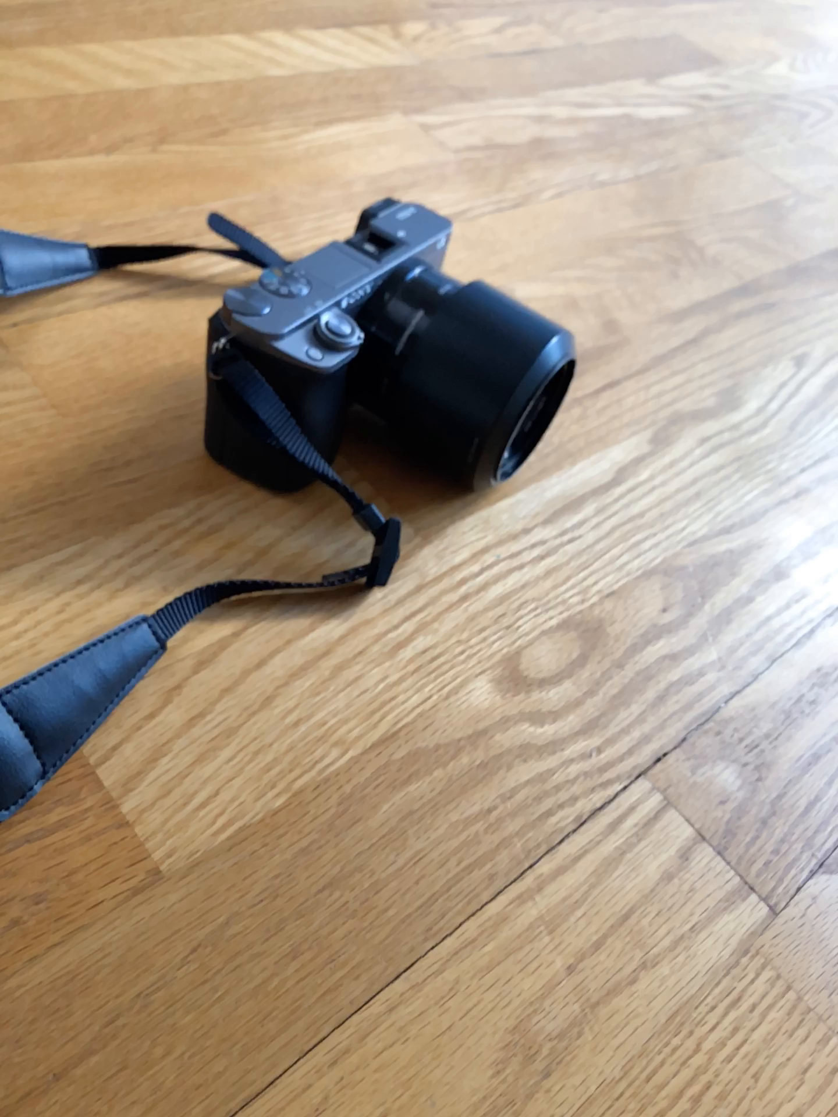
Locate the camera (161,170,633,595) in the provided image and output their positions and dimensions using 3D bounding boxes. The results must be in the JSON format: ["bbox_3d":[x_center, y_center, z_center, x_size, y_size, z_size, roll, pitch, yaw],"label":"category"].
[{"bbox_3d":[-0.005,-0.075,0.354,0.110,0.060,0.141,33,48,12],"label":"camera"}]
